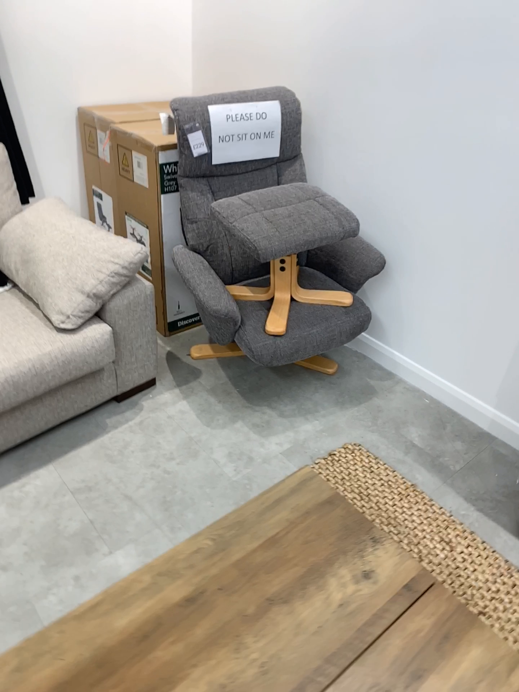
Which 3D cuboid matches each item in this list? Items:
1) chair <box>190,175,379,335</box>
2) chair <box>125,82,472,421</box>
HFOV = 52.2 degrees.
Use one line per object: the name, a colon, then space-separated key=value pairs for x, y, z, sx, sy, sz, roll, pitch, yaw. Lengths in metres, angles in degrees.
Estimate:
chair: x=0.073 y=-0.362 z=1.955 sx=0.497 sy=0.352 sz=0.448 roll=-18 pitch=39 yaw=-30
chair: x=0.087 y=-0.436 z=2.018 sx=0.869 sy=0.897 sz=0.791 roll=-18 pitch=39 yaw=-30
